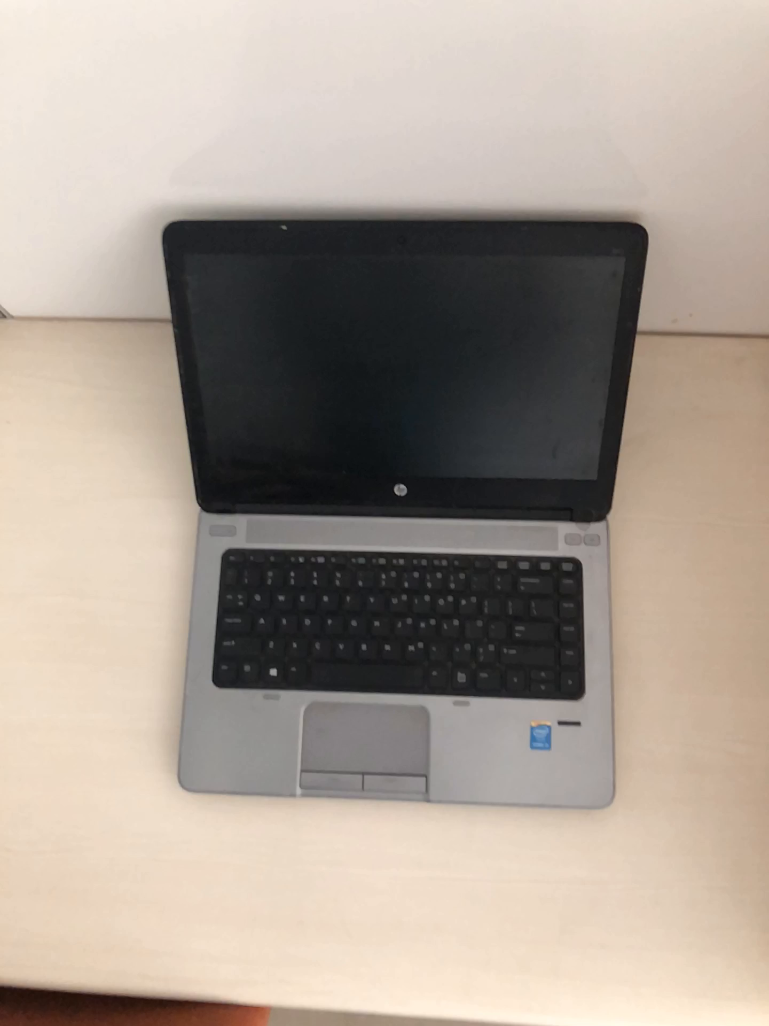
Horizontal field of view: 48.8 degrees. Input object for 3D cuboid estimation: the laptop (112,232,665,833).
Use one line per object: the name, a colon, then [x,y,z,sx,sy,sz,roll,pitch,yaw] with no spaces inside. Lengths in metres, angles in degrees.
laptop: [0.009,0.010,0.607,0.322,0.149,0.378,1,77,4]
